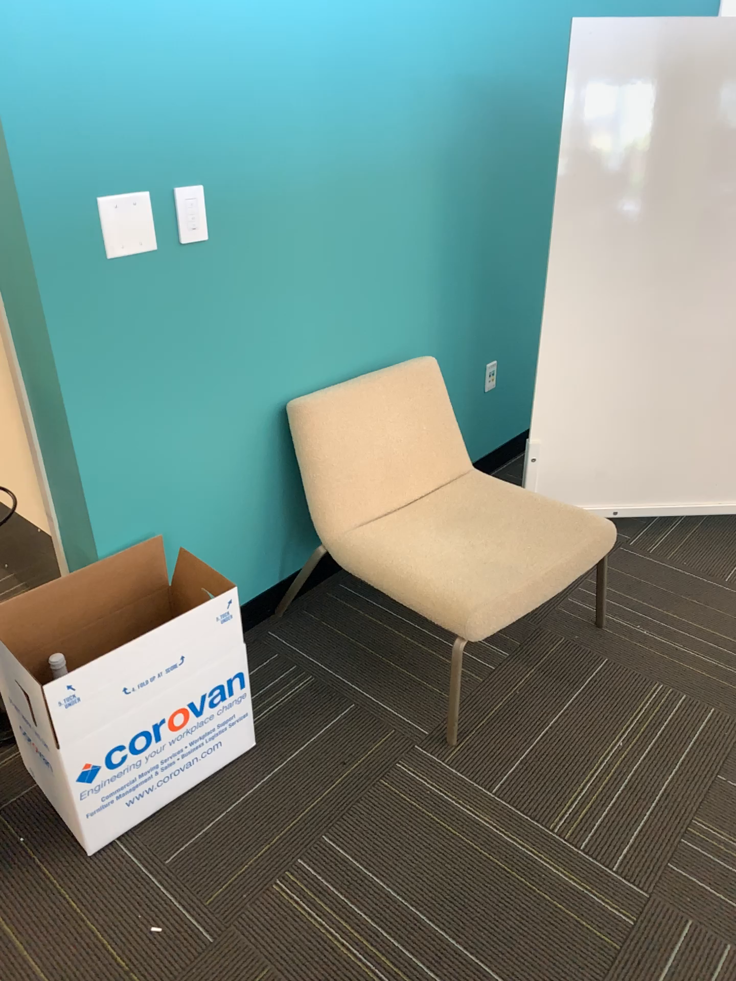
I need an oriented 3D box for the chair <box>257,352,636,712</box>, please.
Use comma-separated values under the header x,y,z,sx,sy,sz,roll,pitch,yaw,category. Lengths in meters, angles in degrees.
x,y,z,sx,sy,sz,roll,pitch,yaw,category
0.200,0.044,2.084,0.661,0.567,0.733,-25,37,-37,chair
